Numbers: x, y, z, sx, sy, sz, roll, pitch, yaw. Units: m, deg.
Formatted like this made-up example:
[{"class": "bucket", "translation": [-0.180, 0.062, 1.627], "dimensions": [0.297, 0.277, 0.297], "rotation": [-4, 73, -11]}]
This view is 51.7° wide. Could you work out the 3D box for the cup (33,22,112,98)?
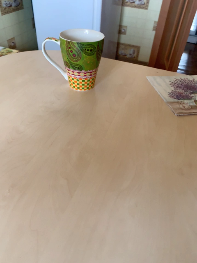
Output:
[{"class": "cup", "translation": [-0.049, -0.158, 0.443], "dimensions": [0.130, 0.109, 0.110], "rotation": [11, 41, 8]}]
